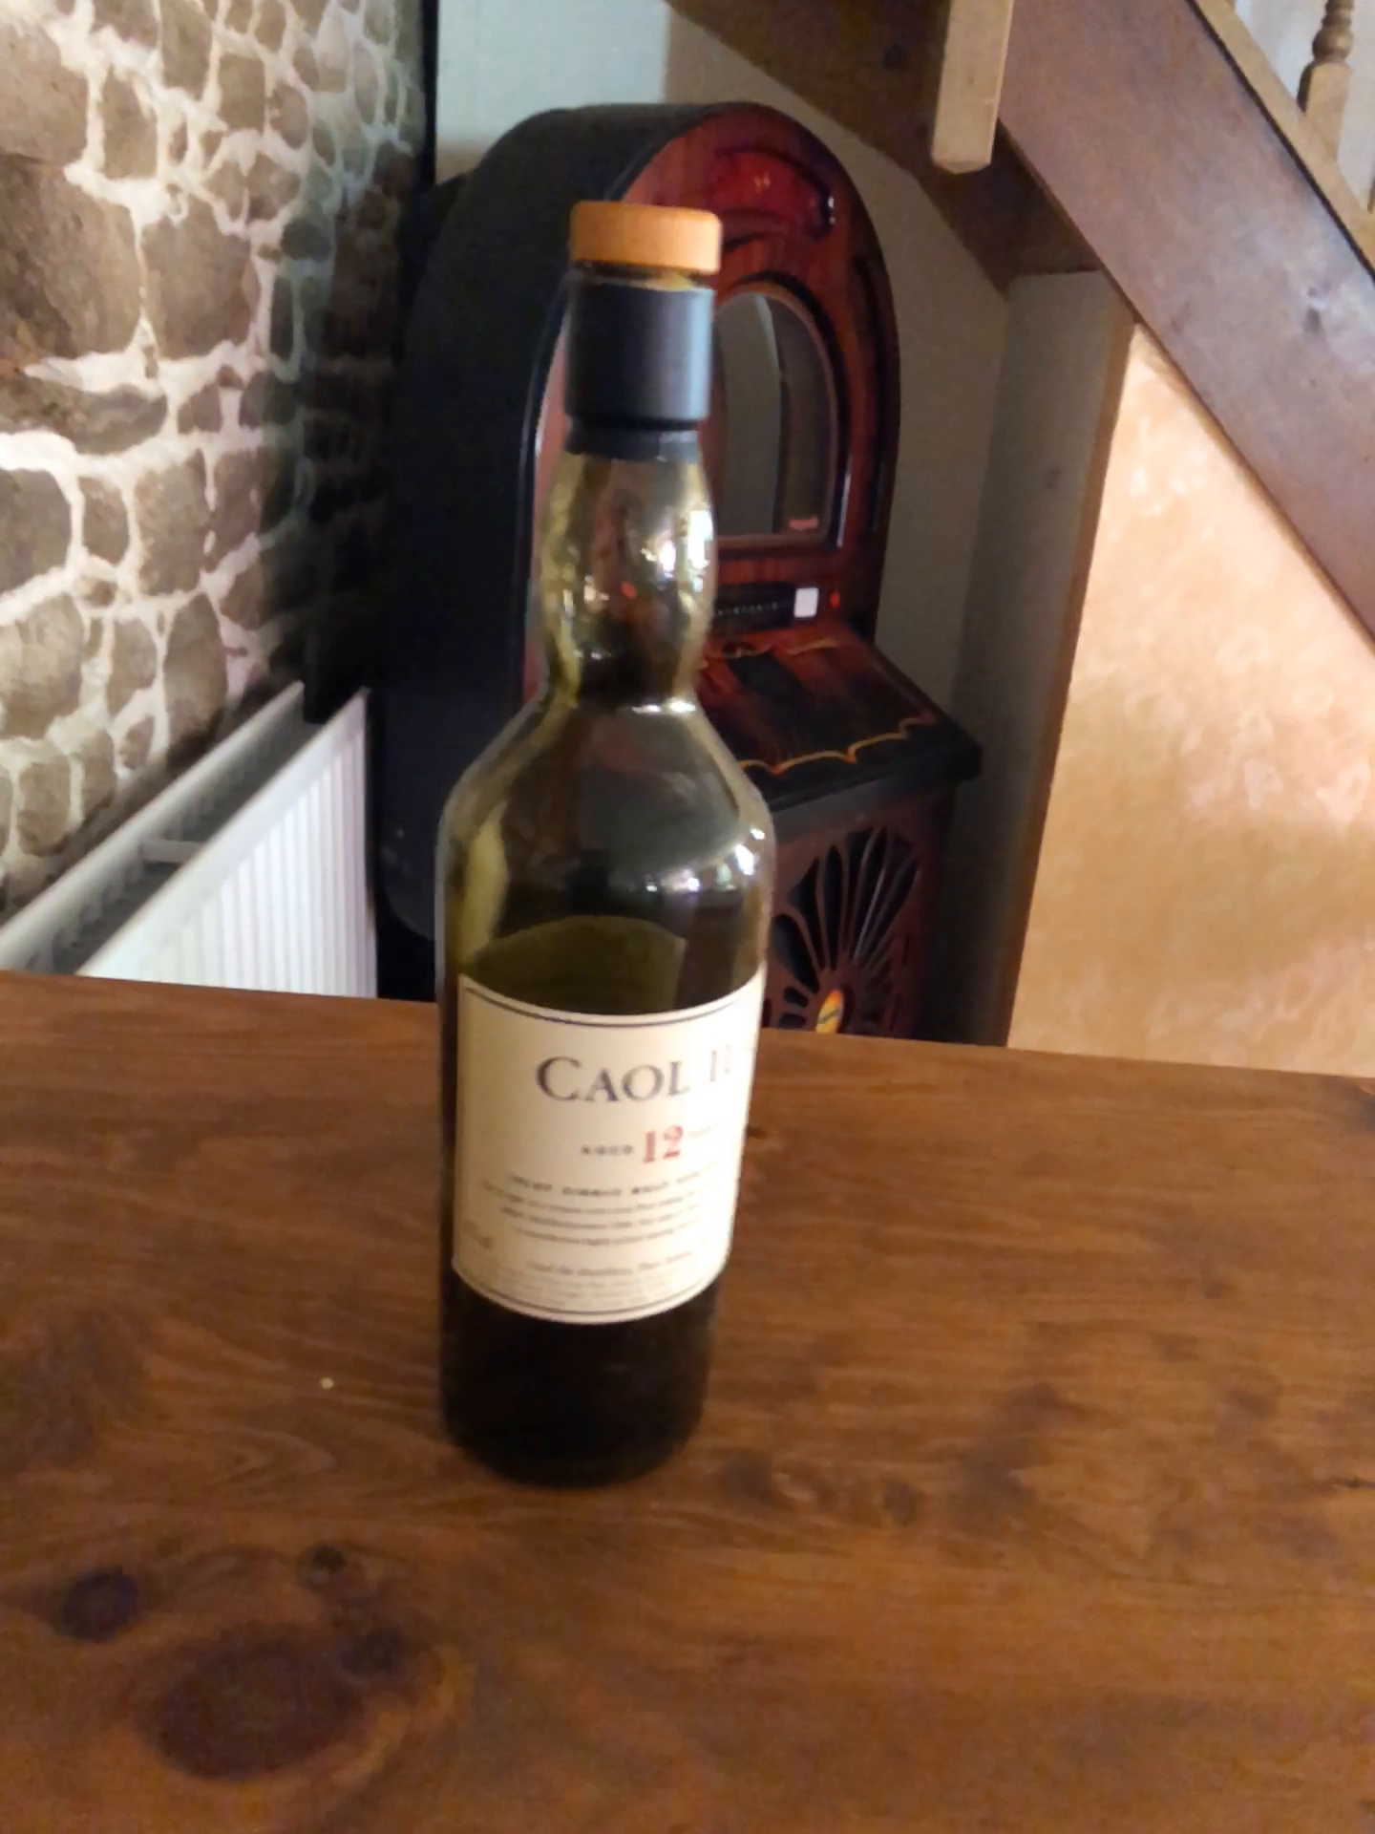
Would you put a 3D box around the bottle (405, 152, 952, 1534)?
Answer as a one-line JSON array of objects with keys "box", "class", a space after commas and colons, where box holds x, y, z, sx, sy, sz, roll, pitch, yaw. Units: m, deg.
[{"box": [-0.013, -0.009, 0.356, 0.080, 0.298, 0.070, -10, 26, -34], "class": "bottle"}]
